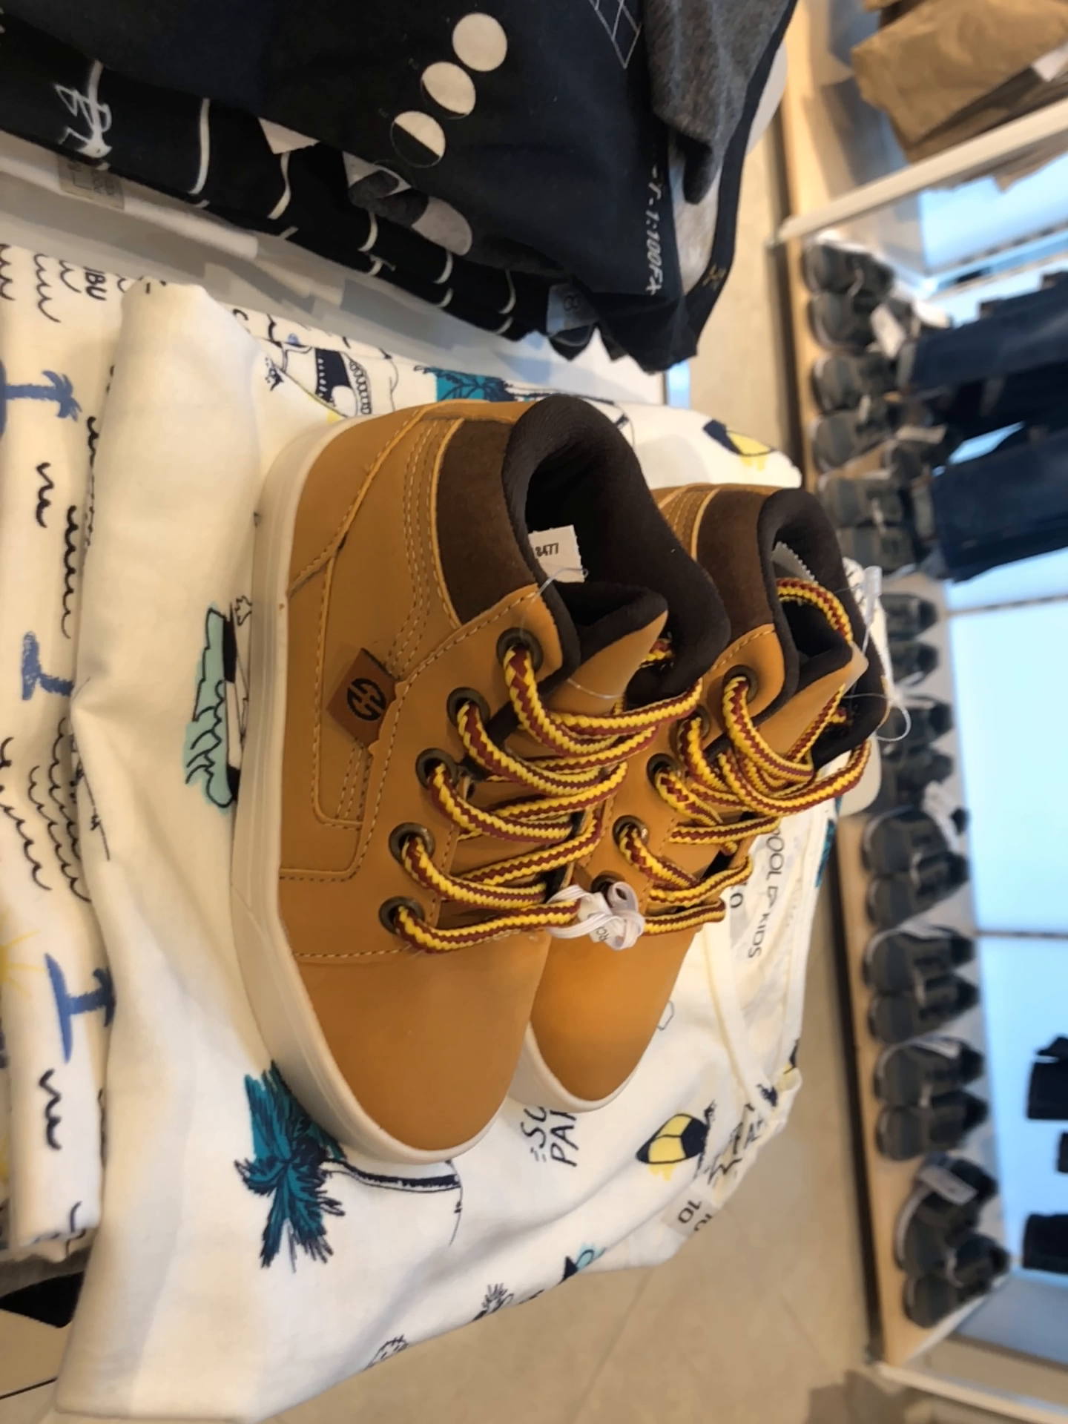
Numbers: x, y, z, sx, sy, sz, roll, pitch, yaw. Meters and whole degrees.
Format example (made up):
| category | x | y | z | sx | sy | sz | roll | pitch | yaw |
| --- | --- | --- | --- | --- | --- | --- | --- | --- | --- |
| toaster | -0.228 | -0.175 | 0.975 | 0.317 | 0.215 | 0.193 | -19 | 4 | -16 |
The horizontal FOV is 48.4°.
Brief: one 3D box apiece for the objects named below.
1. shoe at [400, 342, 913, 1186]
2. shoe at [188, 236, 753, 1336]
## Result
| category | x | y | z | sx | sy | sz | roll | pitch | yaw |
| --- | --- | --- | --- | --- | --- | --- | --- | --- | --- |
| shoe | 0.031 | 0.014 | 0.293 | 0.070 | 0.089 | 0.170 | 14 | 78 | -44 |
| shoe | -0.015 | 0.012 | 0.240 | 0.070 | 0.089 | 0.170 | 0 | 89 | -46 |
